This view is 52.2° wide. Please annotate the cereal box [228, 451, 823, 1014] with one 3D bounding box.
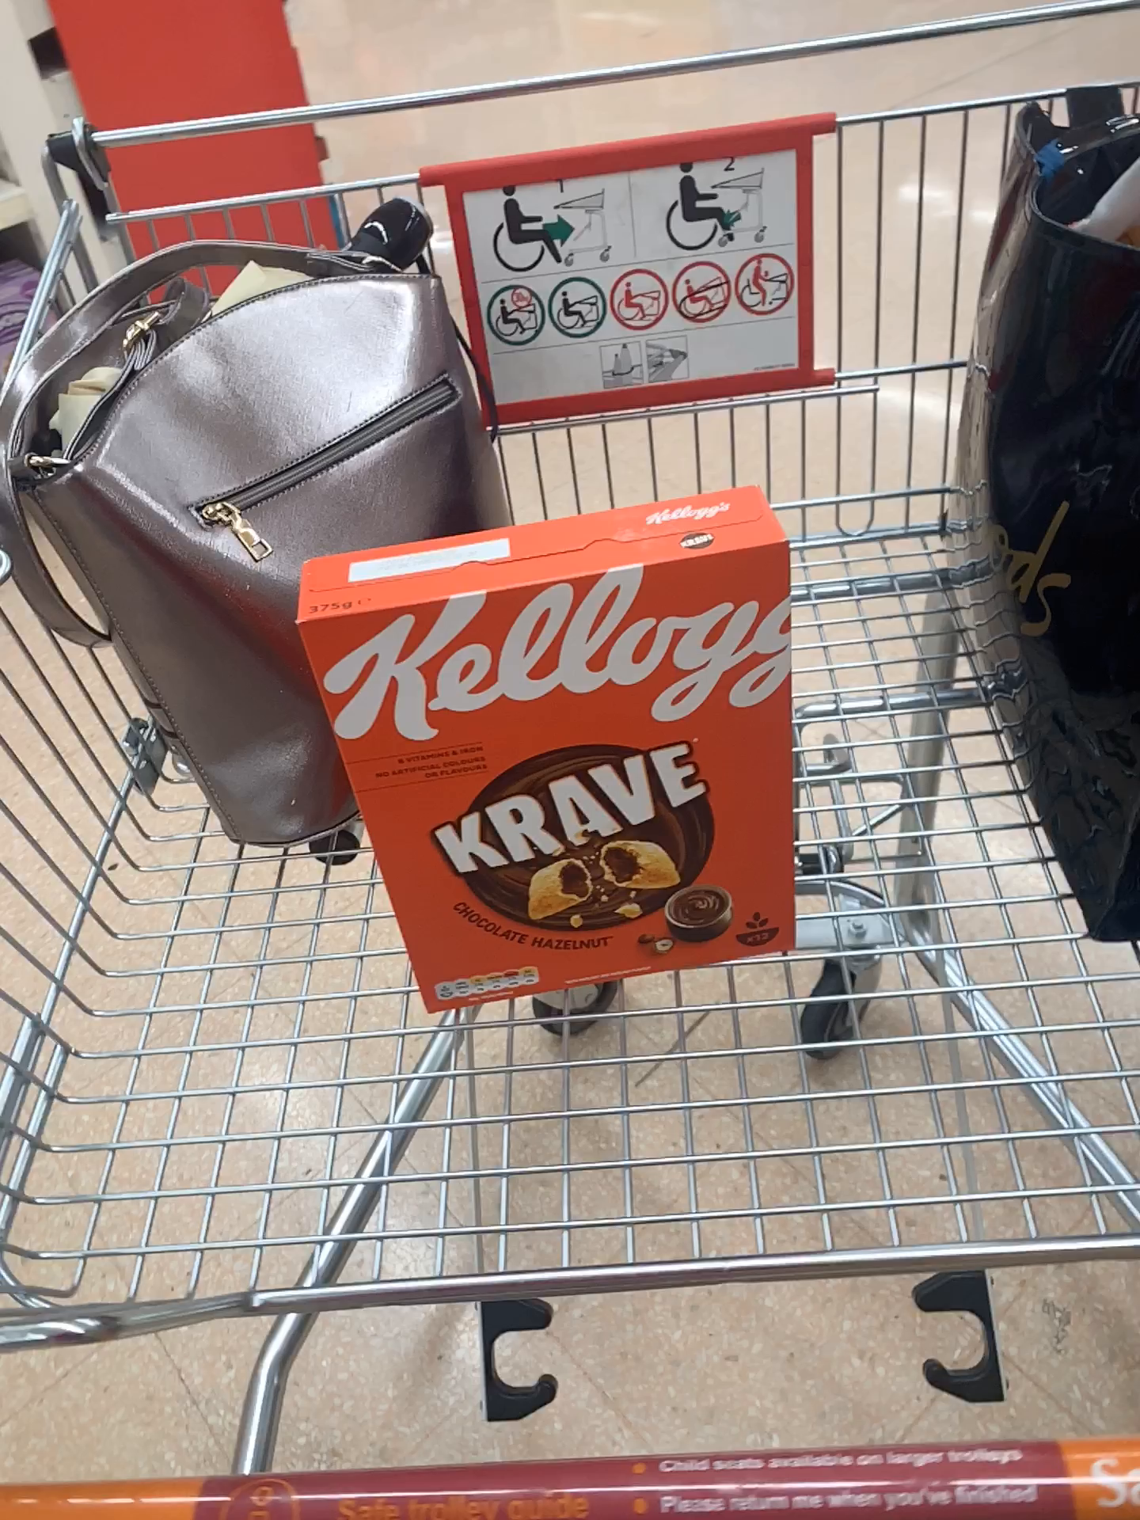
[{"bbox_3d":[-0.005,0.001,0.498,0.210,0.228,0.050,-9,40,-1],"label":"cereal box"}]
